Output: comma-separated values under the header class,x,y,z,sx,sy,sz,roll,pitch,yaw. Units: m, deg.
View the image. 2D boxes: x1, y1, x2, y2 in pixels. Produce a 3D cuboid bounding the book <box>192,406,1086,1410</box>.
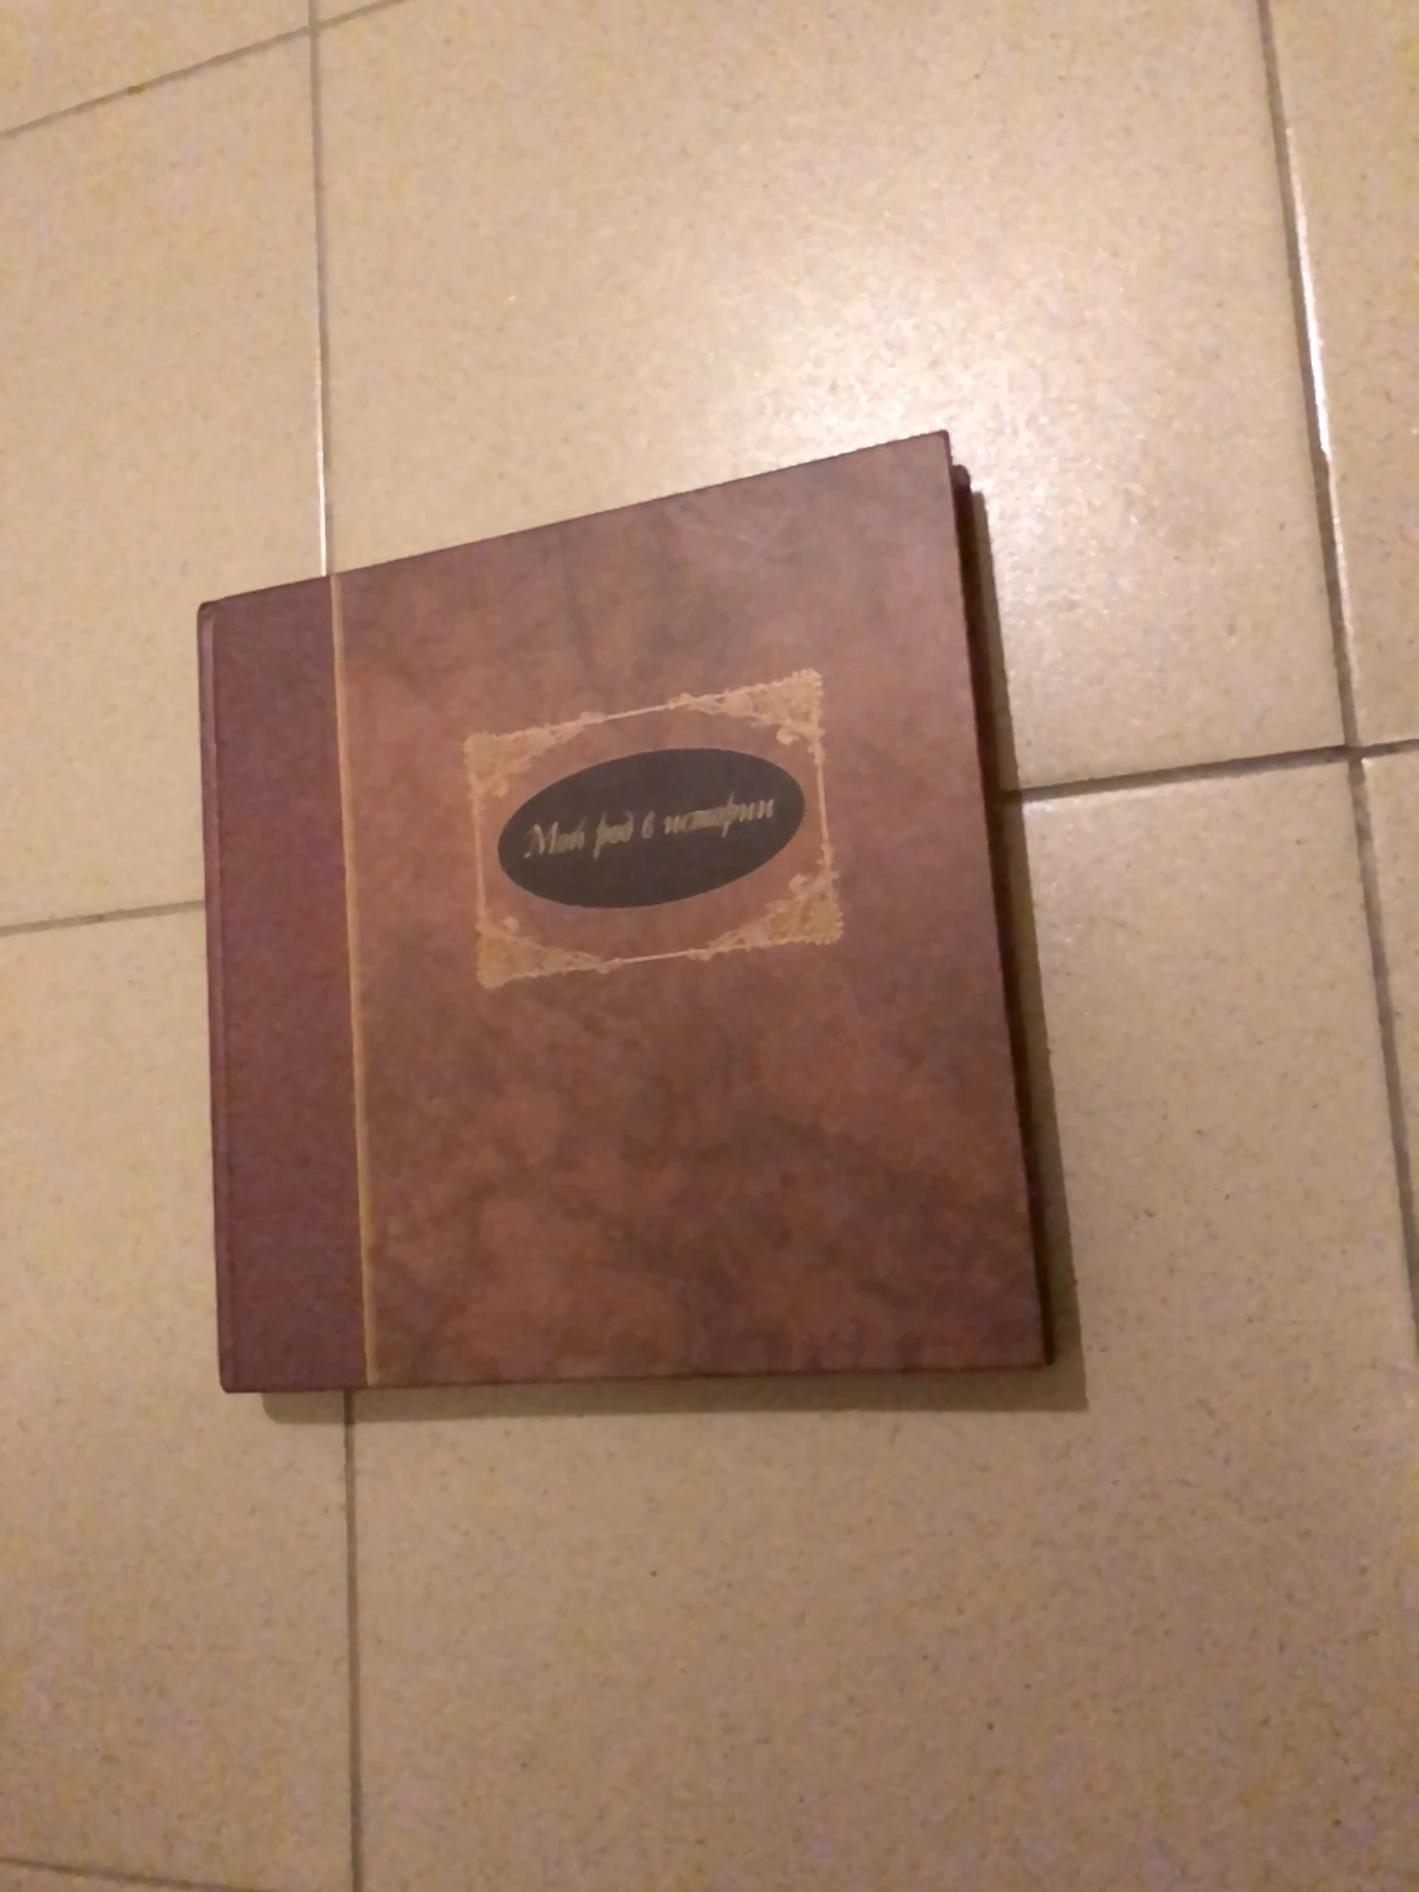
class,x,y,z,sx,sy,sz,roll,pitch,yaw
book,-0.034,-0.001,0.441,0.244,0.038,0.244,-9,78,21
